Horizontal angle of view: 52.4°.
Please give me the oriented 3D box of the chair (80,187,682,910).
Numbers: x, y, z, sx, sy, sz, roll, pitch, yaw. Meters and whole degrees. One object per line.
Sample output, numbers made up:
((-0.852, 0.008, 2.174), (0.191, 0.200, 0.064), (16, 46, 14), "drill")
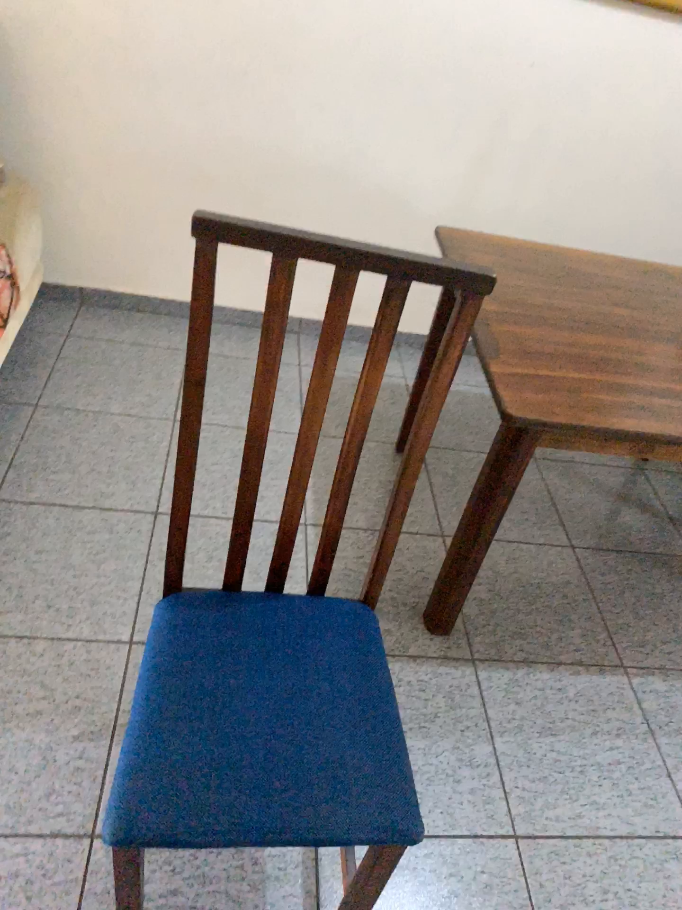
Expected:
((-0.075, 0.299, 1.034), (0.470, 1.123, 0.523), (8, 39, -10), "chair")
